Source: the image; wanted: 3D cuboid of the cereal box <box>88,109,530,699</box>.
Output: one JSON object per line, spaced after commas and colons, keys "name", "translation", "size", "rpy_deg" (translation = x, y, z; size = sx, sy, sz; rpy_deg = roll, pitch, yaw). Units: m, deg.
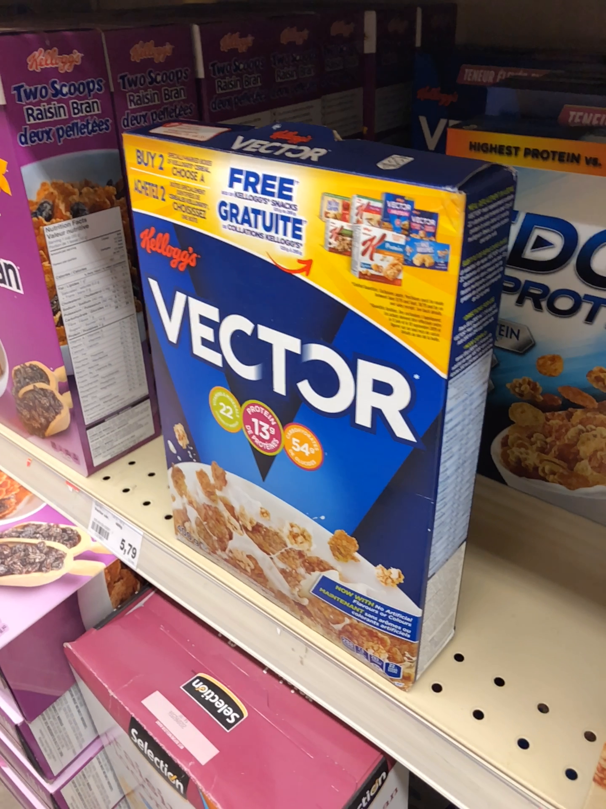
{"name": "cereal box", "translation": [-0.005, -0.002, 0.362], "size": [0.201, 0.268, 0.060], "rpy_deg": [23, 40, 34]}
